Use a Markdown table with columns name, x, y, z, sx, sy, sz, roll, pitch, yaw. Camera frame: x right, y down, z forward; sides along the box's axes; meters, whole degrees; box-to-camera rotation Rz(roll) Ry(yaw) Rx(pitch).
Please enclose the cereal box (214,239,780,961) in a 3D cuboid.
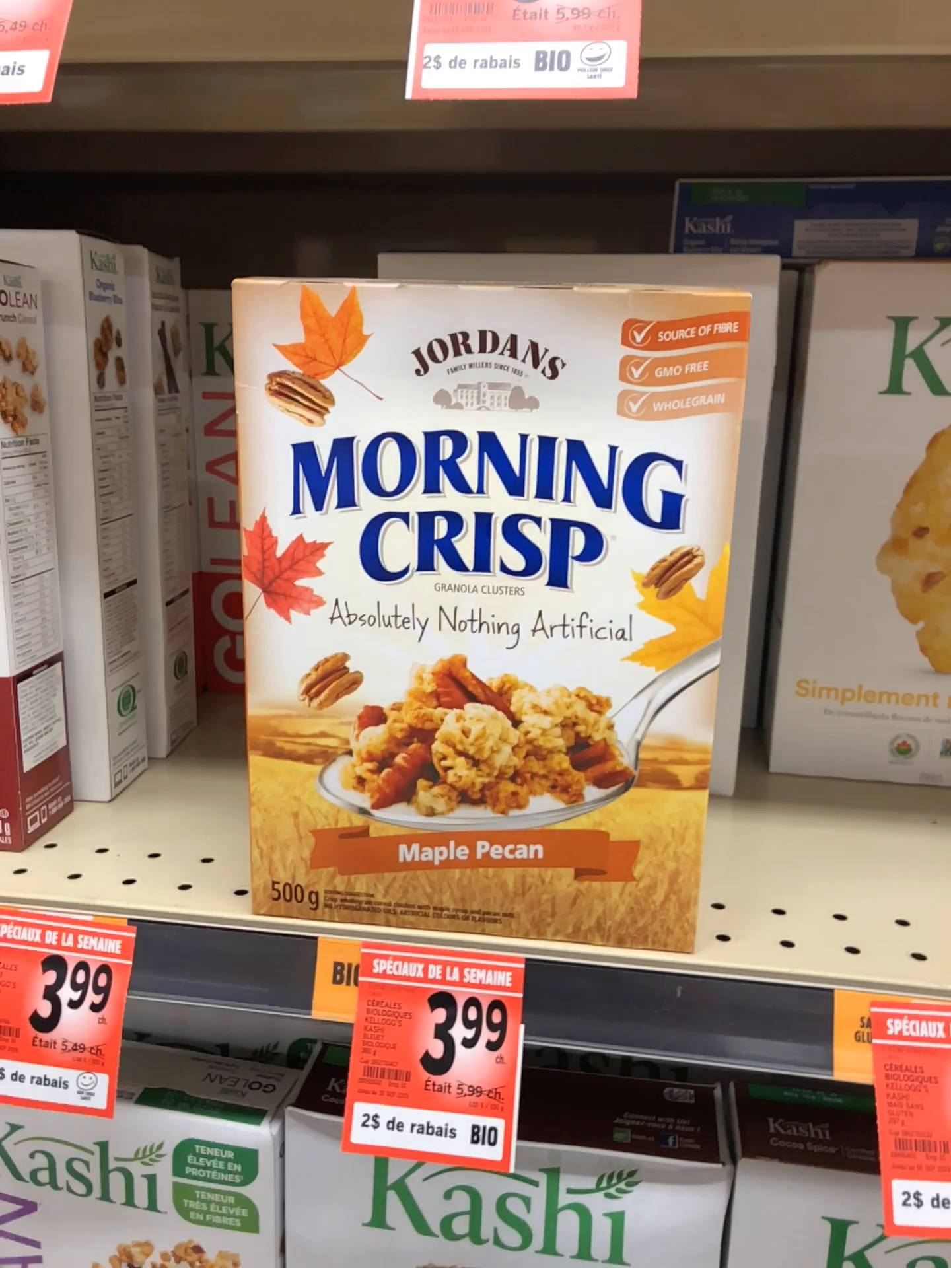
| name | x | y | z | sx | sy | sz | roll | pitch | yaw |
| --- | --- | --- | --- | --- | --- | --- | --- | --- | --- |
| cereal box | 0.002 | -0.011 | 0.409 | 0.190 | 0.259 | 0.050 | 4 | 15 | 6 |
